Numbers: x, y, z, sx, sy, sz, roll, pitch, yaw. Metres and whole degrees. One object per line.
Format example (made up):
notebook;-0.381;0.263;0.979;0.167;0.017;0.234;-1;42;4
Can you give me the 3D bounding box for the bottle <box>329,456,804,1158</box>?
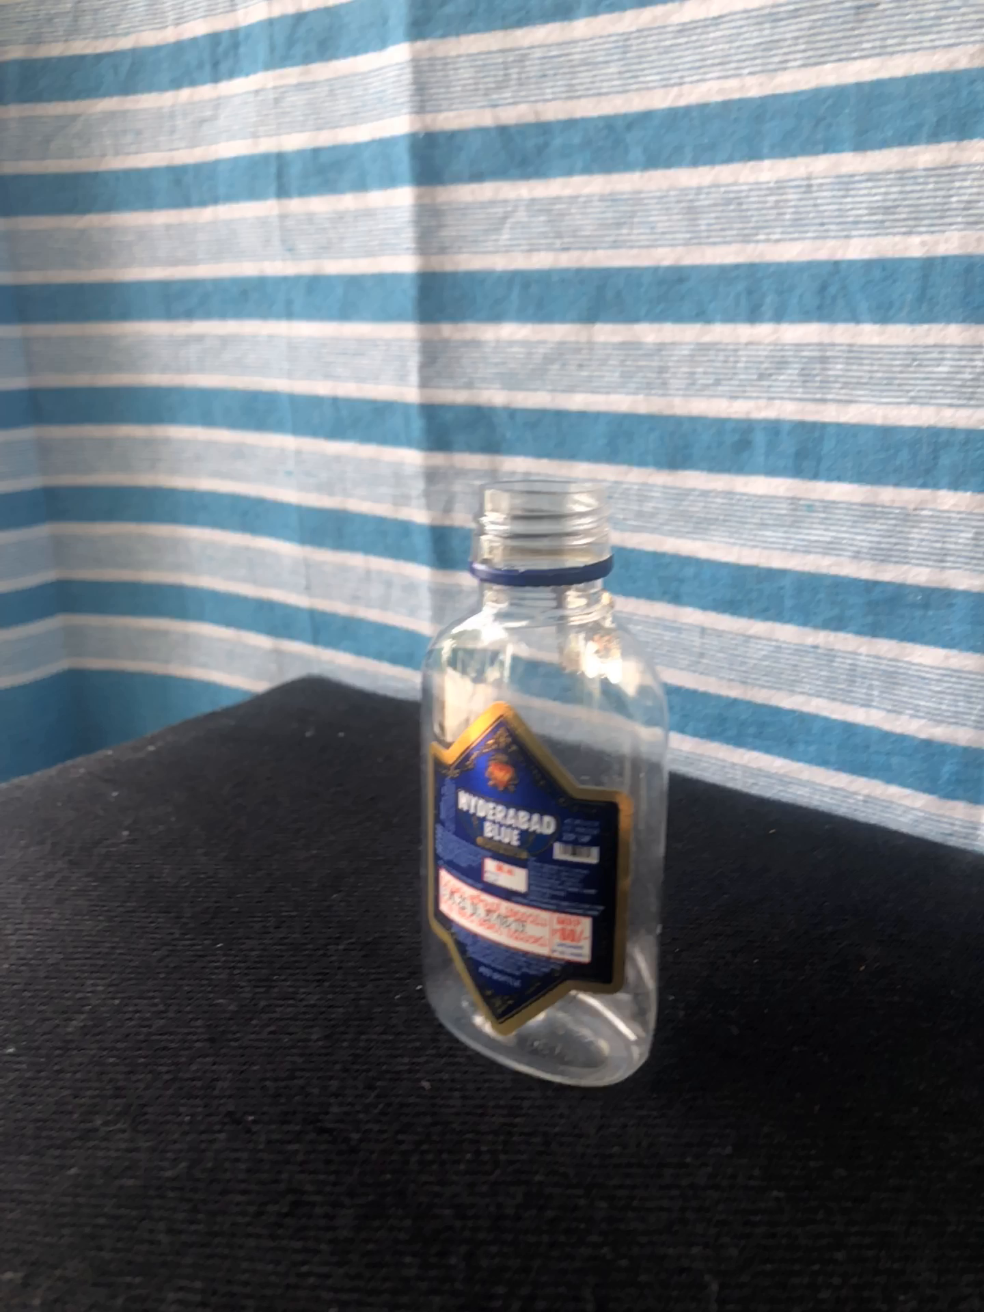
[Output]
bottle;0.013;0.020;0.196;0.060;0.100;0.050;13;23;35
